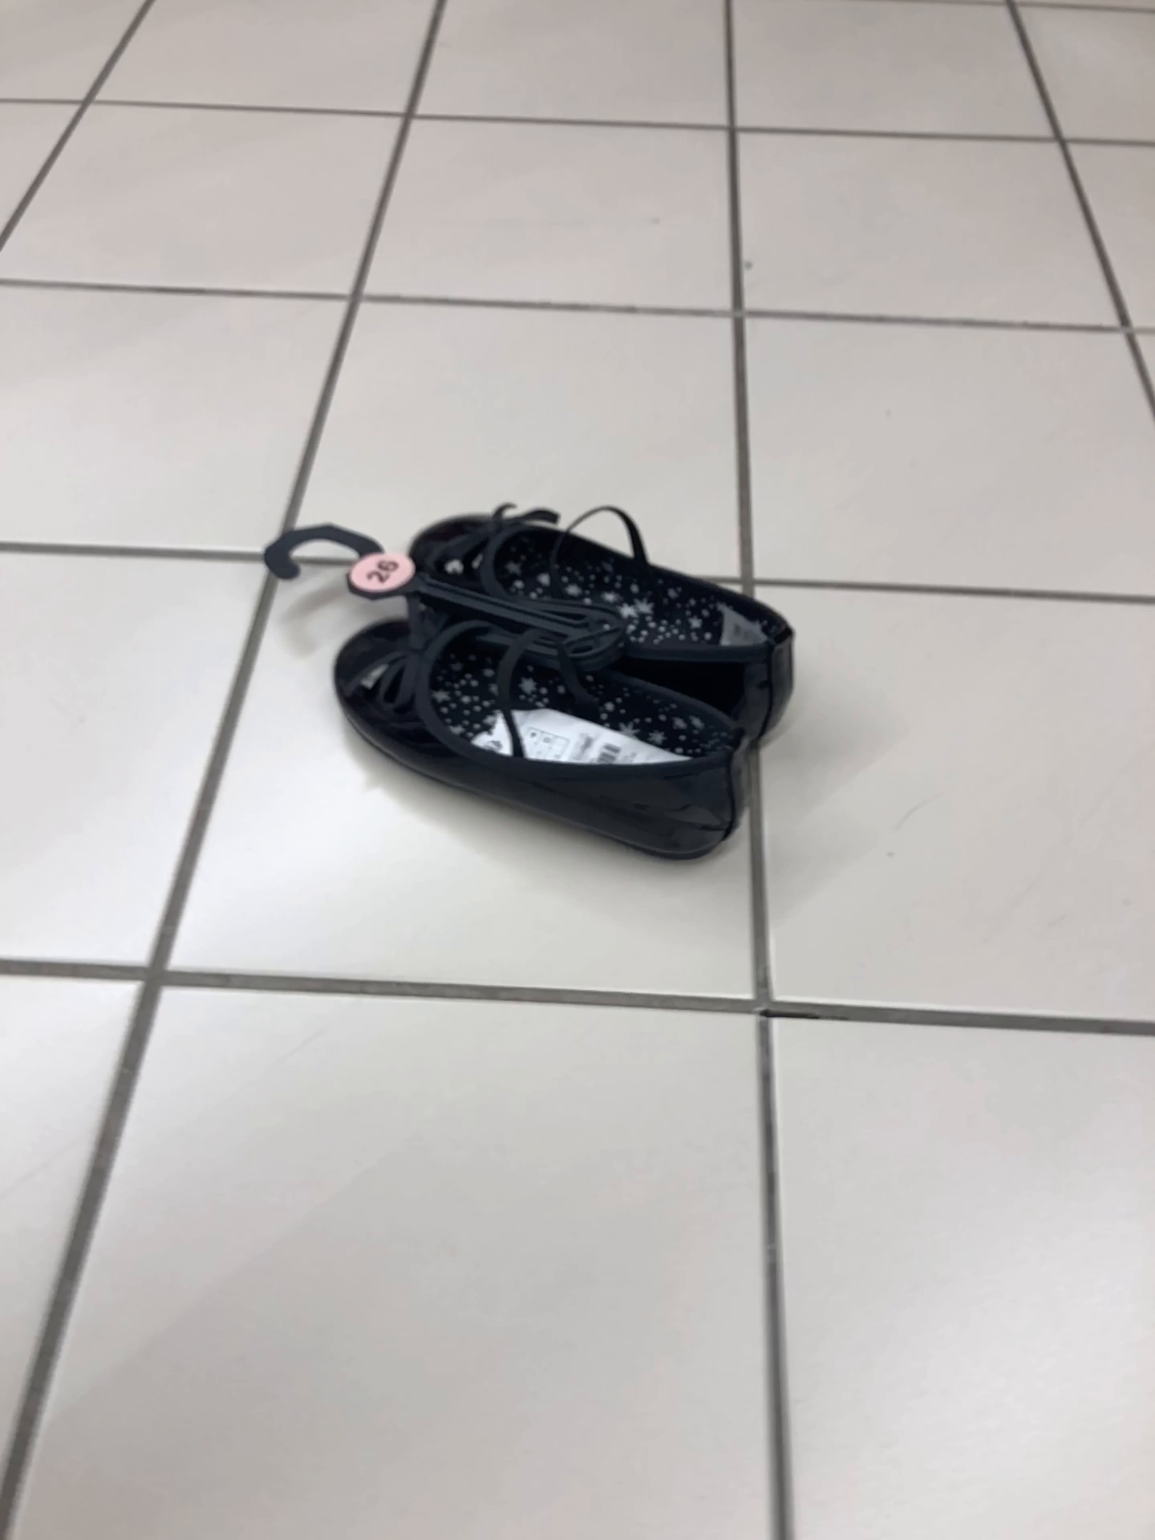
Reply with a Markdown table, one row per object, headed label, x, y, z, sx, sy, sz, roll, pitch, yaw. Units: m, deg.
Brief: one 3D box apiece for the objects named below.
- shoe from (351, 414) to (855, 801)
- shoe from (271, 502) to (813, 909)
| label | x | y | z | sx | sy | sz | roll | pitch | yaw |
| --- | --- | --- | --- | --- | --- | --- | --- | --- | --- |
| shoe | 0.008 | -0.067 | 0.496 | 0.173 | 0.059 | 0.073 | 25 | 56 | 18 |
| shoe | -0.013 | -0.027 | 0.461 | 0.171 | 0.055 | 0.075 | 22 | 55 | 16 |
